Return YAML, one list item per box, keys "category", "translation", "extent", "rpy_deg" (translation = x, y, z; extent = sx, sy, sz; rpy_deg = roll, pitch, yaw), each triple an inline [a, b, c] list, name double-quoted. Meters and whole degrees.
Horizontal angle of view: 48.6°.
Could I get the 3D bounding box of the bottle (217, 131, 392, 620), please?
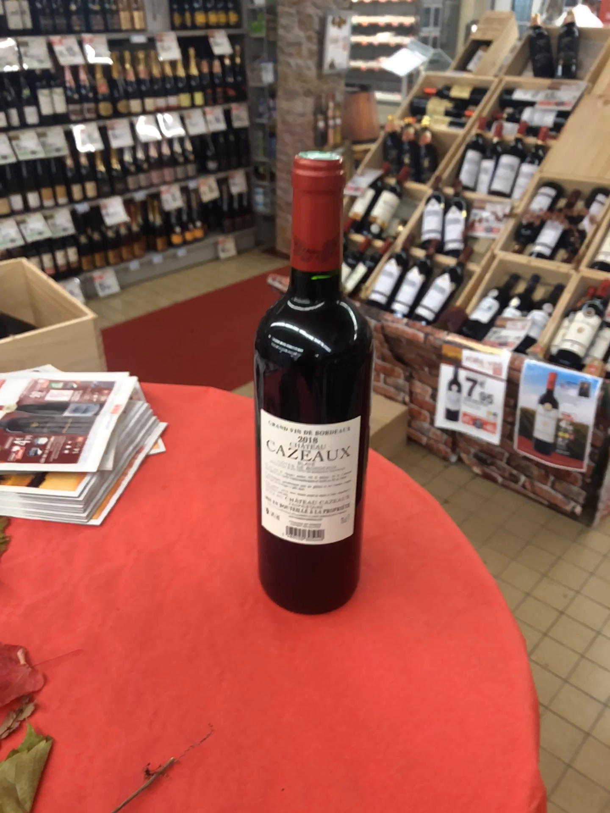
- category: "bottle"
  translation: [0.004, -0.007, 0.424]
  extent: [0.080, 0.298, 0.081]
  rpy_deg: [0, 30, 0]
